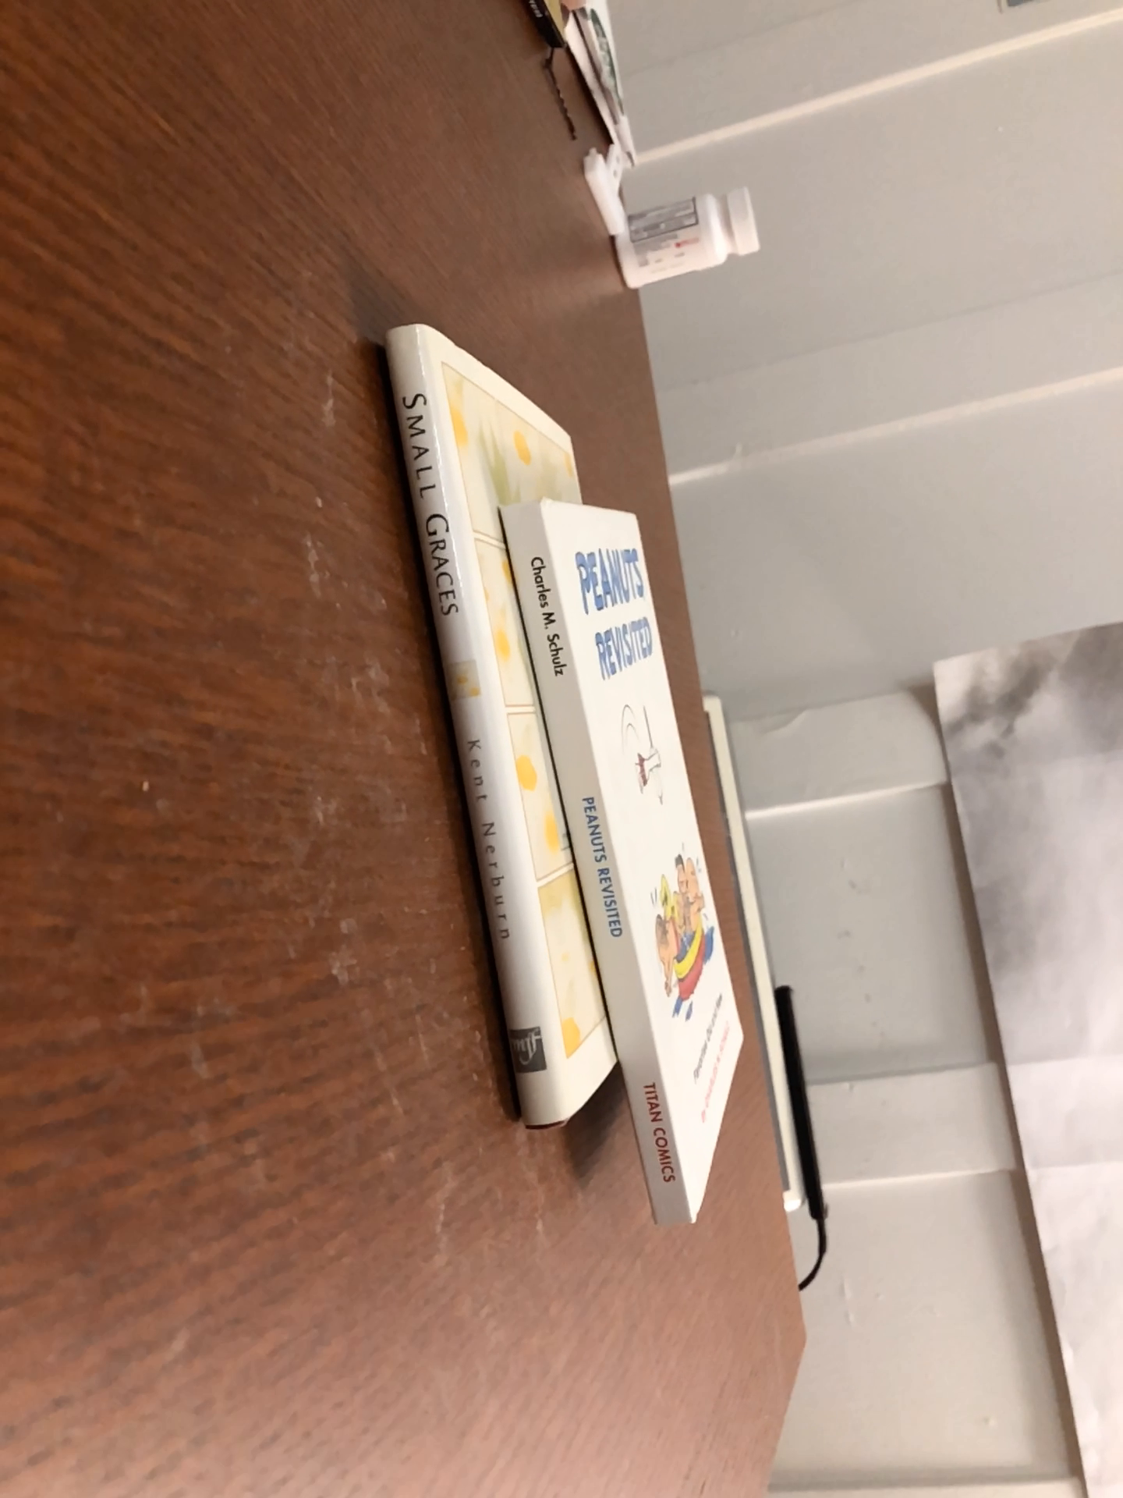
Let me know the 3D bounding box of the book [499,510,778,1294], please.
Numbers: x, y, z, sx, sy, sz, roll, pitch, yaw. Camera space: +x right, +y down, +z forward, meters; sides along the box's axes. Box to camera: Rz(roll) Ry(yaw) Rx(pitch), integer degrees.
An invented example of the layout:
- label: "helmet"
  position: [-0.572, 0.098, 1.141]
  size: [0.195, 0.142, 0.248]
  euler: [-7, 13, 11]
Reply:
- label: "book"
  position: [0.035, 0.030, 0.398]
  size: [0.161, 0.020, 0.210]
  euler: [-39, 118, -73]
